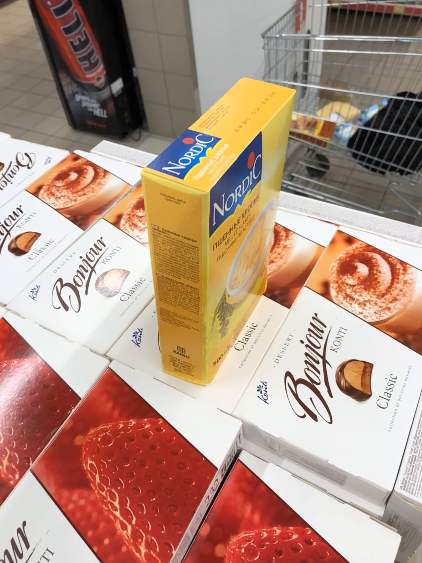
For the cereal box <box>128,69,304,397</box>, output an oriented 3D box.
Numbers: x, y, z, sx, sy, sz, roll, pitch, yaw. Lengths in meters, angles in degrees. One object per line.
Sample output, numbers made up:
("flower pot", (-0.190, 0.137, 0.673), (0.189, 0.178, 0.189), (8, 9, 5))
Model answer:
("cereal box", (0.008, -0.032, 0.389), (0.050, 0.218, 0.161), (22, 50, 17))
